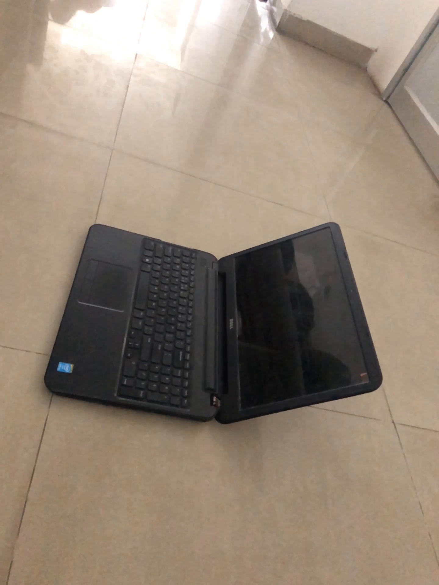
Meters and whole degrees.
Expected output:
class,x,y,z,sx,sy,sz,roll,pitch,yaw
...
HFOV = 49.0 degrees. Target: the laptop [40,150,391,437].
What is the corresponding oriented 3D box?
class,x,y,z,sx,sy,sz,roll,pitch,yaw
laptop,-0.005,-0.004,0.766,0.428,0.163,0.359,14,44,-14
